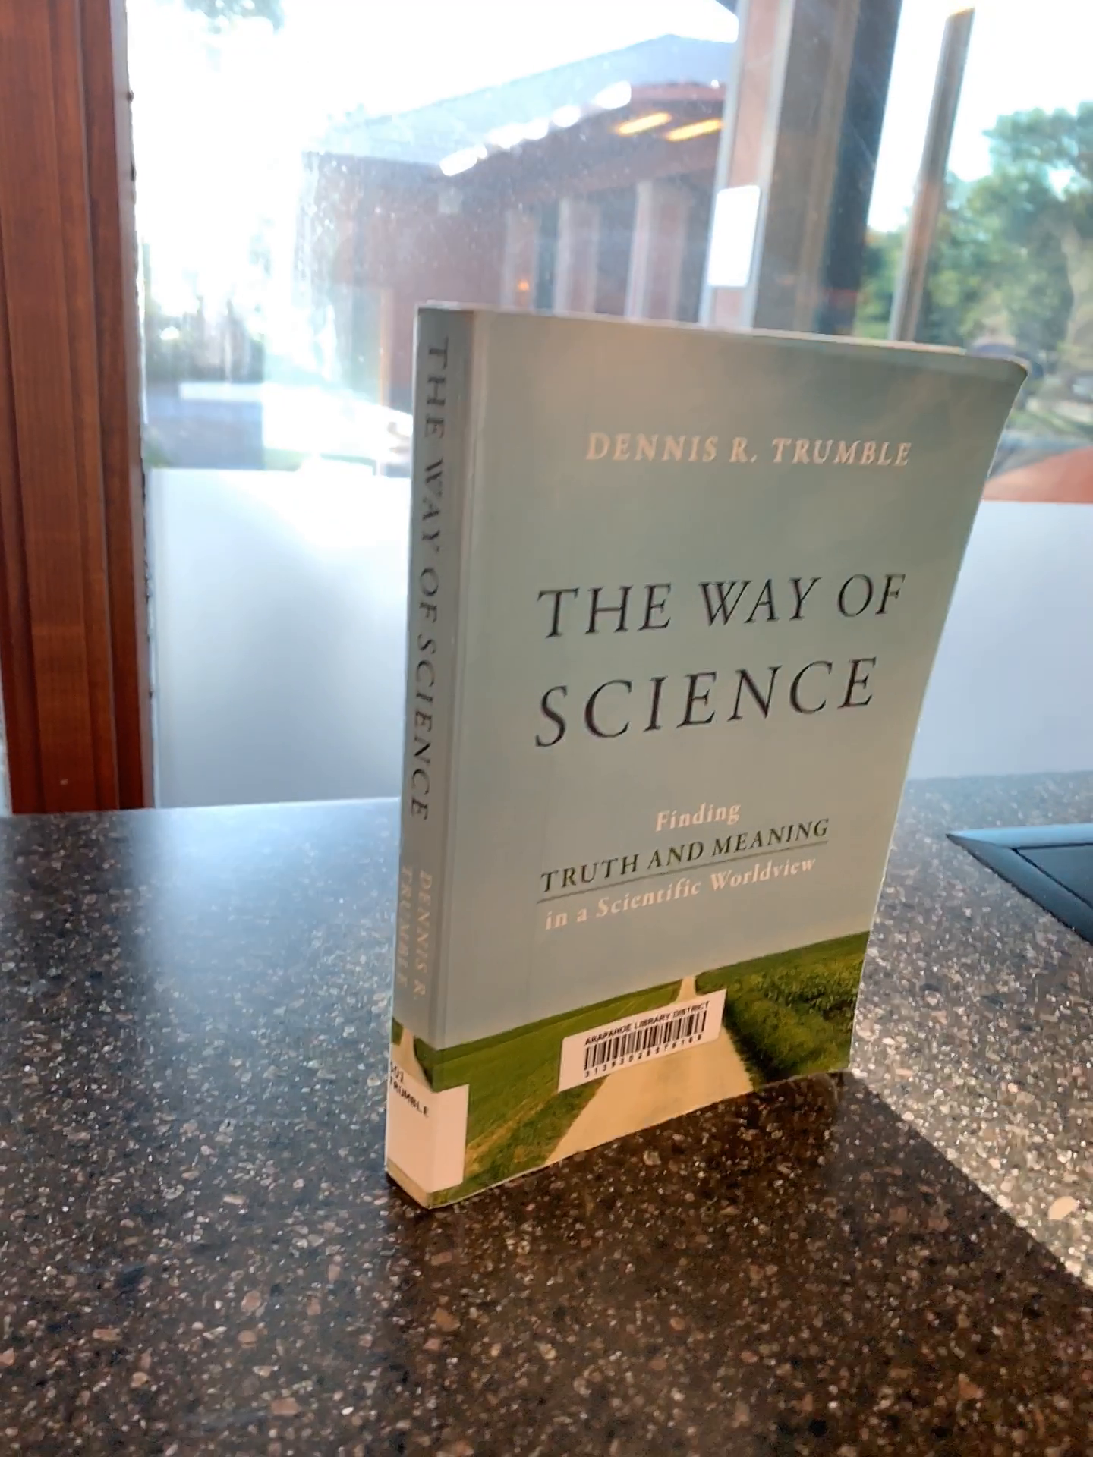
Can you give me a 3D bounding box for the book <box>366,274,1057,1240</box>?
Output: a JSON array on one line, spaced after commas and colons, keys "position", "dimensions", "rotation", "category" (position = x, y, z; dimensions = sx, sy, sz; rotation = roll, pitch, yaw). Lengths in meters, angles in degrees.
[{"position": [0.041, 0.005, 0.298], "dimensions": [0.167, 0.219, 0.040], "rotation": [-8, 23, -31], "category": "book"}]
